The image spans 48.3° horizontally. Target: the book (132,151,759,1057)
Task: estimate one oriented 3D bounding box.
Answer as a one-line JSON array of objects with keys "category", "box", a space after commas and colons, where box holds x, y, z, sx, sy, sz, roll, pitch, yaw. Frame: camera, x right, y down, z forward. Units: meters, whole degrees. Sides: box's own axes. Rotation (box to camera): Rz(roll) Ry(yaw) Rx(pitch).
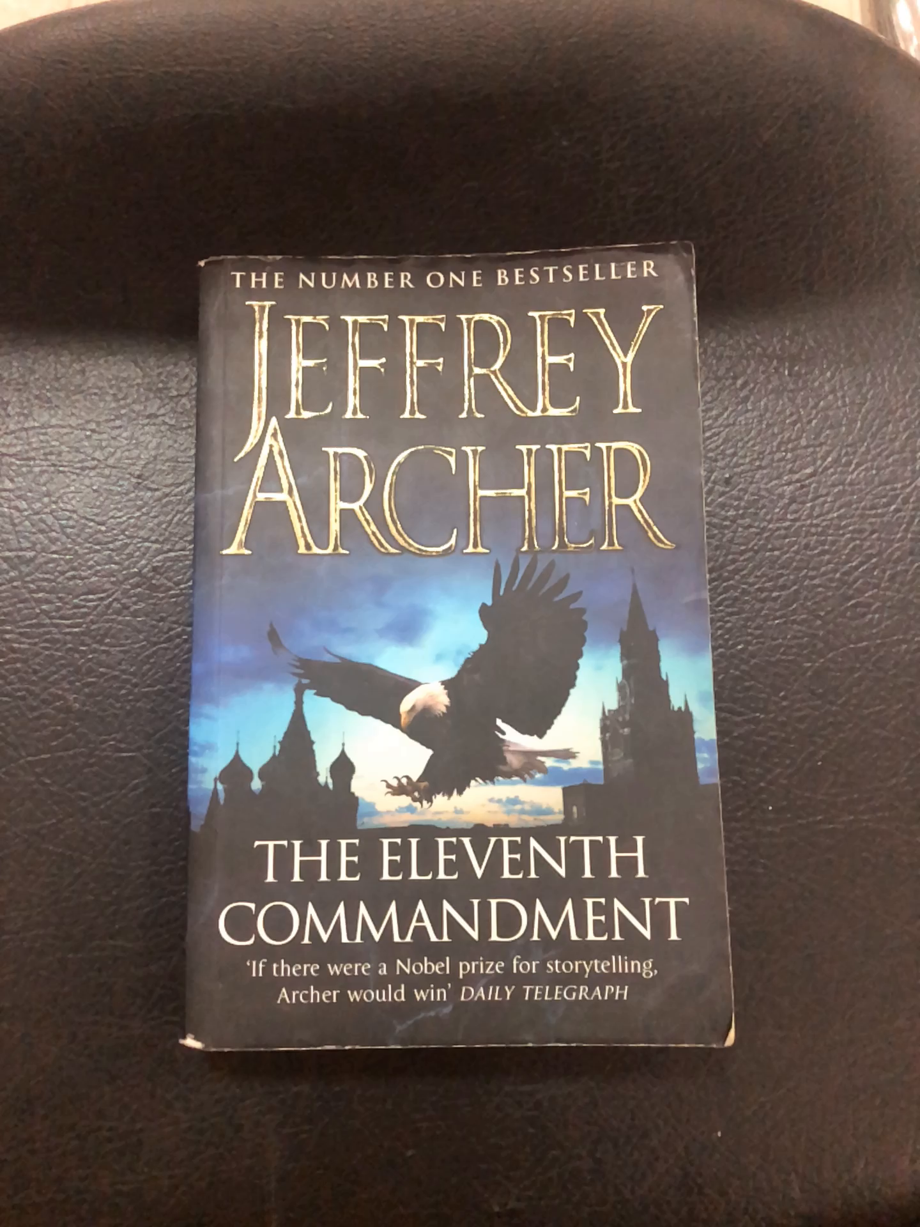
[{"category": "book", "box": [-0.003, -0.005, 0.246, 0.130, 0.040, 0.200, 0, 82, -2]}]
